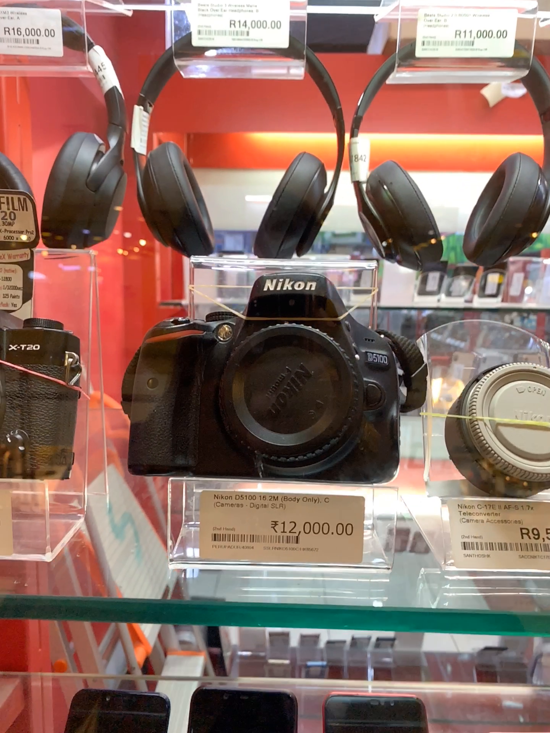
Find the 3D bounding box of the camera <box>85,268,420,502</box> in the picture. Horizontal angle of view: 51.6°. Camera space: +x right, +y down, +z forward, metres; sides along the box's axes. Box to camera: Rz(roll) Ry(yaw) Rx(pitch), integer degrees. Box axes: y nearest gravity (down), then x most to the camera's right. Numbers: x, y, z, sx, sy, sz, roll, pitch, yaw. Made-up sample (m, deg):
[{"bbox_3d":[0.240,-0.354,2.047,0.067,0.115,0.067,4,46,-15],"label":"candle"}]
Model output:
[{"bbox_3d":[-0.009,0.003,0.260,0.130,0.090,0.070,2,7,2],"label":"camera"}]
